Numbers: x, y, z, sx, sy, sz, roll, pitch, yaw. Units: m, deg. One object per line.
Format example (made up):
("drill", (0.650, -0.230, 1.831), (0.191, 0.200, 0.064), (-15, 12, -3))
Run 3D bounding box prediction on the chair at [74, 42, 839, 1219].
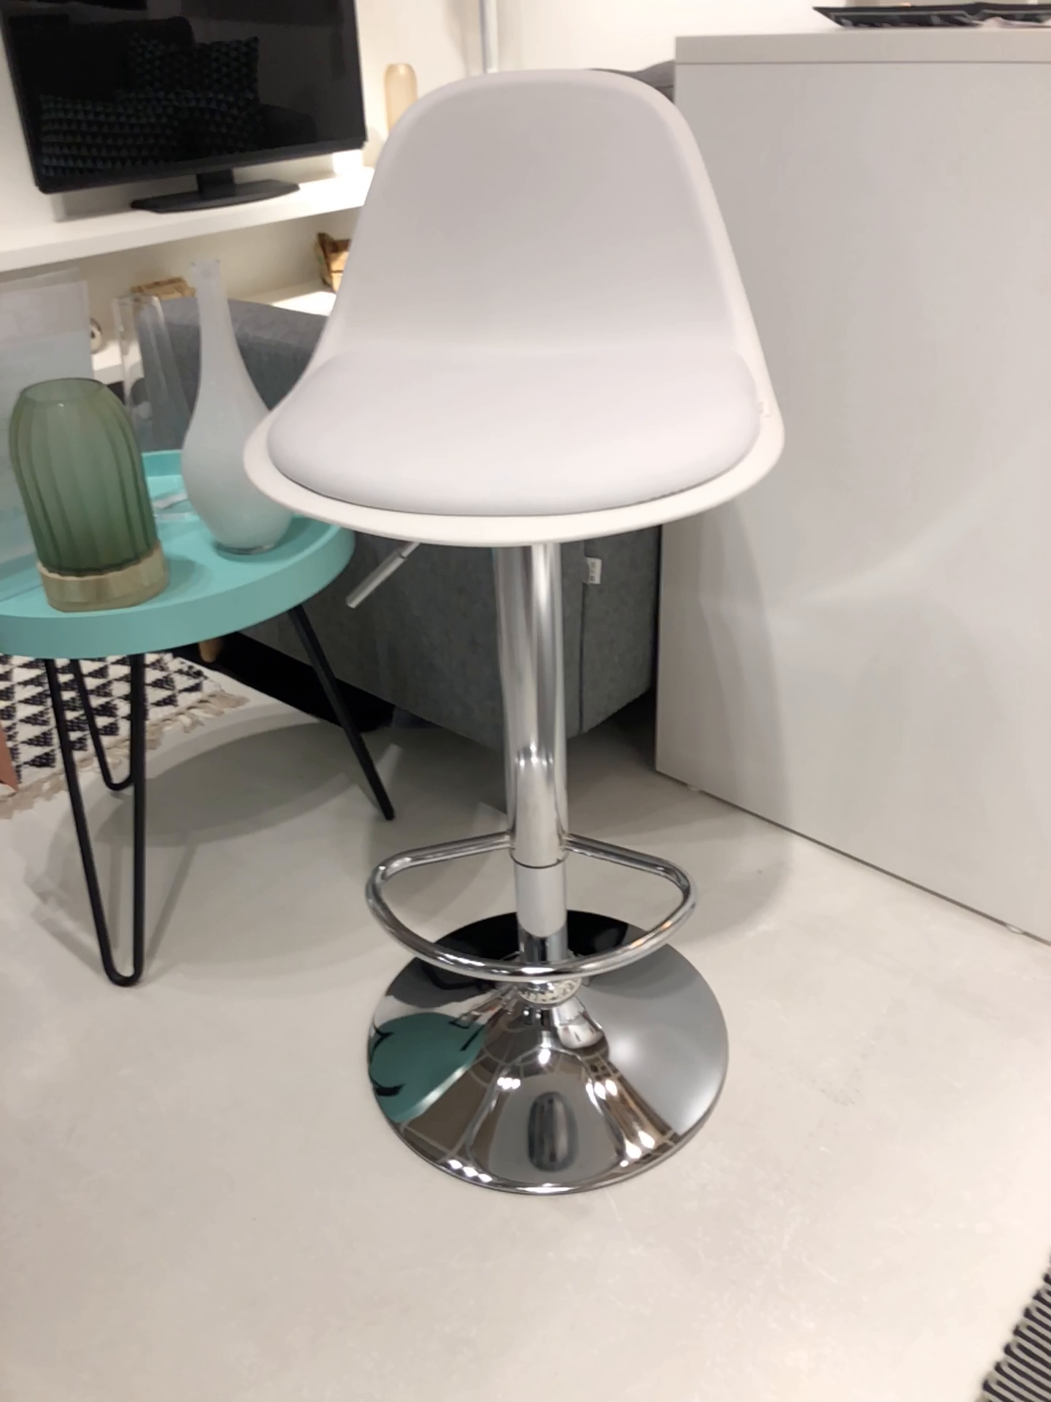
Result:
("chair", (0.011, -0.047, 1.004), (0.410, 0.883, 0.423), (4, 32, 11))
